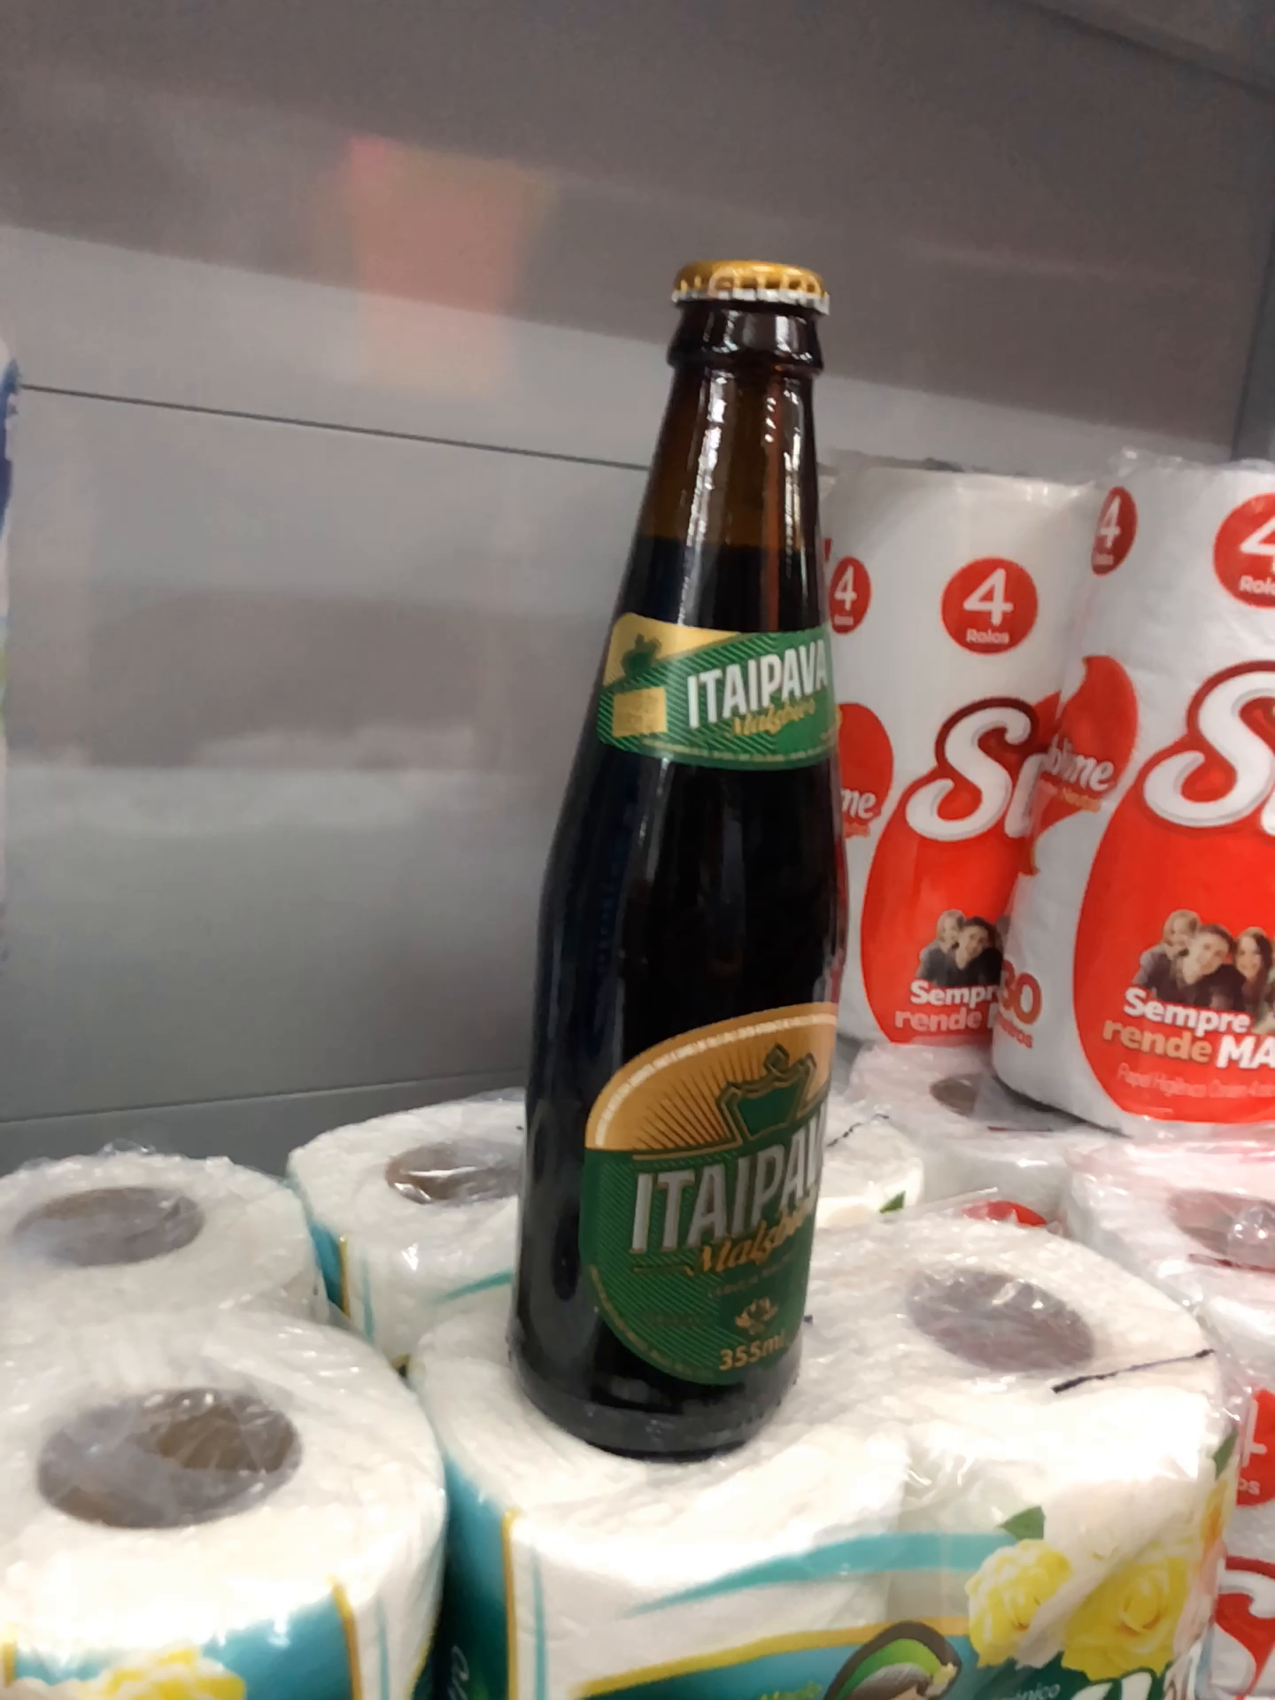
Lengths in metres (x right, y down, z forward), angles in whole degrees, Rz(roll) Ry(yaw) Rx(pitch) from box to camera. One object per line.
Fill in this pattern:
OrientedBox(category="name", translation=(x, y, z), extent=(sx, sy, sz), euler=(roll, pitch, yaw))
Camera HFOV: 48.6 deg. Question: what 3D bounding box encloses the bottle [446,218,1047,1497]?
OrientedBox(category="bottle", translation=(0.016, 0.003, 0.278), extent=(0.070, 0.219, 0.060), euler=(-3, 15, -34))
